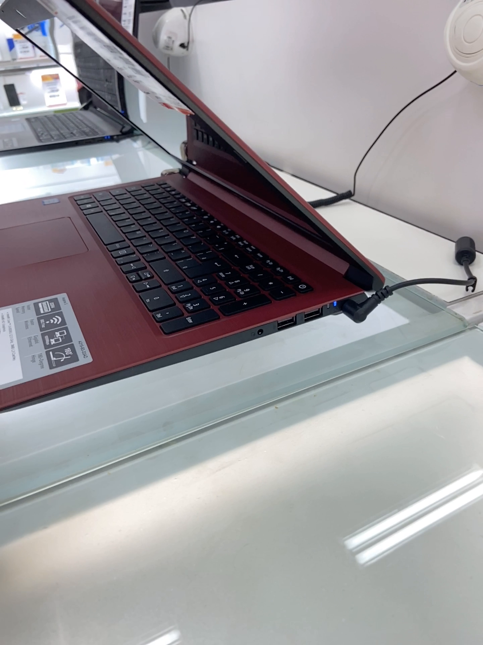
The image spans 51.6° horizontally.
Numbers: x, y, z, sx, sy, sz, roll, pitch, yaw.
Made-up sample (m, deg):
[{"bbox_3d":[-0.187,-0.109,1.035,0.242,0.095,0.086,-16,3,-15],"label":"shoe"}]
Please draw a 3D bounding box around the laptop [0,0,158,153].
[{"bbox_3d":[-0.372,-0.493,0.935,0.305,0.230,0.329,-16,34,-19],"label":"laptop"}]

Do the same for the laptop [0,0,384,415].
[{"bbox_3d":[-0.111,-0.145,0.388,0.238,0.179,0.369,-17,33,-20],"label":"laptop"}]
